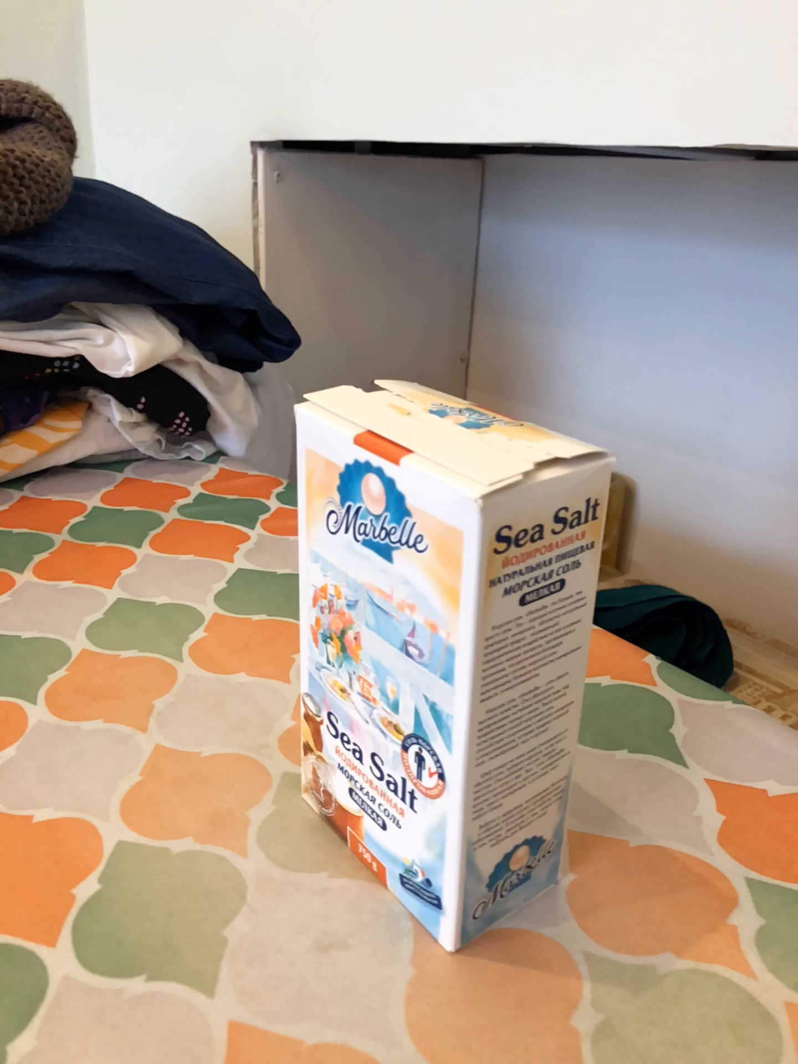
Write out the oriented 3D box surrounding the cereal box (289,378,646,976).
[{"bbox_3d":[0.015,0.044,0.307,0.060,0.169,0.100,-16,30,-34],"label":"cereal box"}]
